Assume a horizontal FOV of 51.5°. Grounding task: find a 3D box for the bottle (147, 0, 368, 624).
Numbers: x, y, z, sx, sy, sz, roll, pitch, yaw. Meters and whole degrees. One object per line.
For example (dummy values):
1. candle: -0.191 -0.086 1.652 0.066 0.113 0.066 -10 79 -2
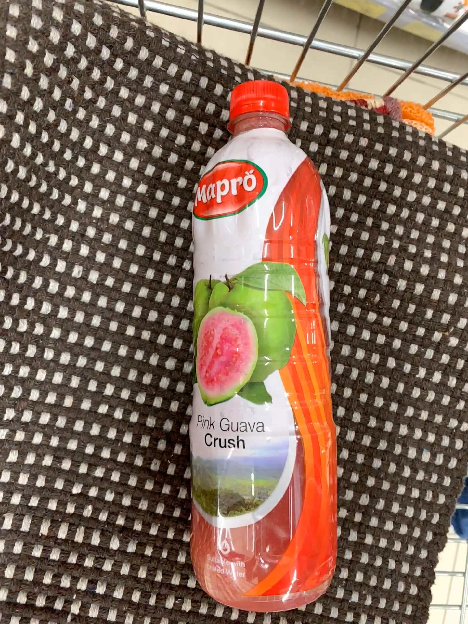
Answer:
1. bottle: 0.011 0.002 0.227 0.070 0.070 0.240 7 80 -56
